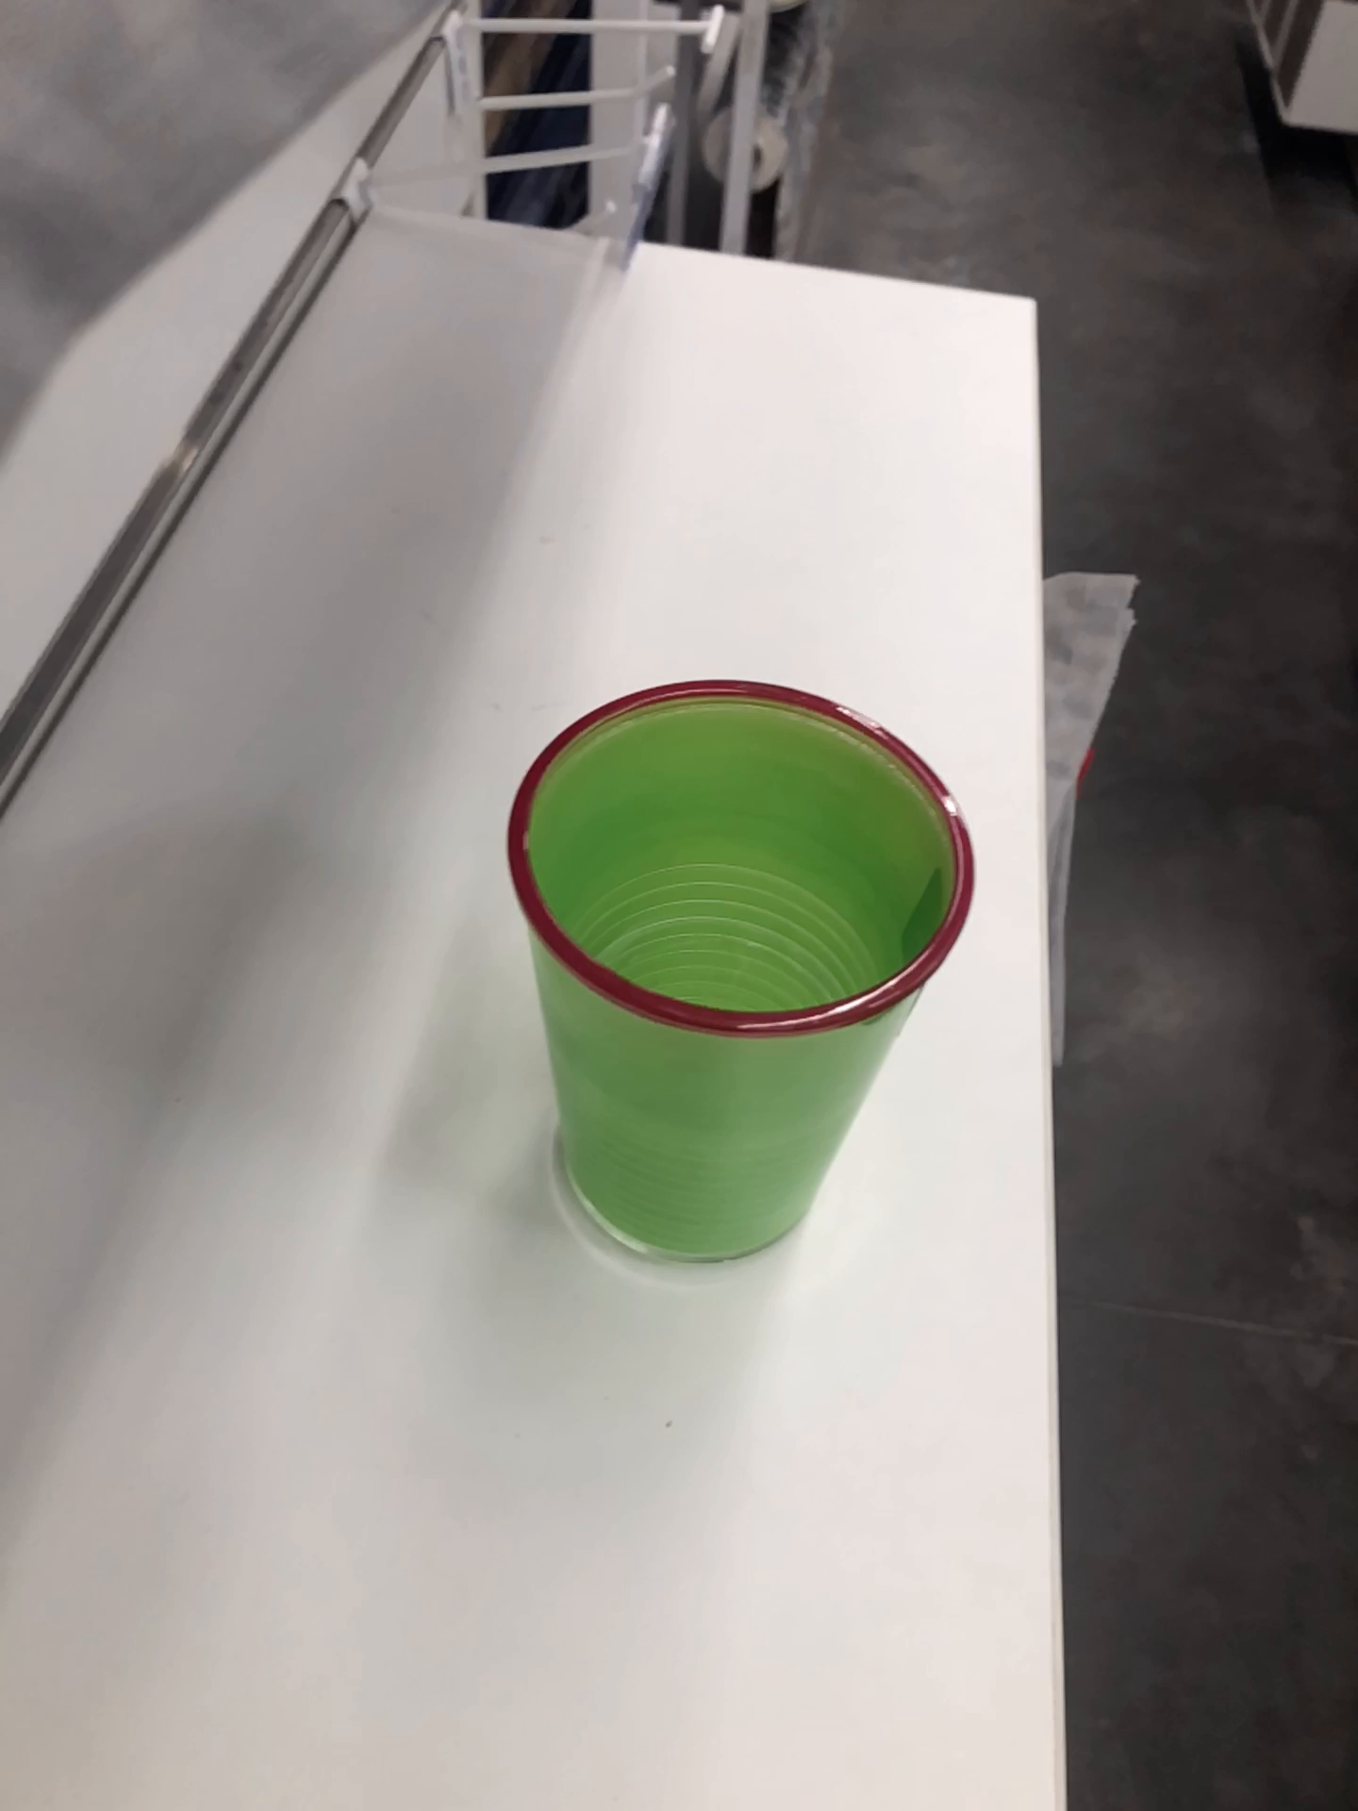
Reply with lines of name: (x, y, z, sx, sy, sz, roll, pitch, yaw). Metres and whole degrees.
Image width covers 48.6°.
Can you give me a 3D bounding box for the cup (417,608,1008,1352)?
cup: (0.007, 0.016, 0.290, 0.082, 0.098, 0.087, 3, 51, -3)
